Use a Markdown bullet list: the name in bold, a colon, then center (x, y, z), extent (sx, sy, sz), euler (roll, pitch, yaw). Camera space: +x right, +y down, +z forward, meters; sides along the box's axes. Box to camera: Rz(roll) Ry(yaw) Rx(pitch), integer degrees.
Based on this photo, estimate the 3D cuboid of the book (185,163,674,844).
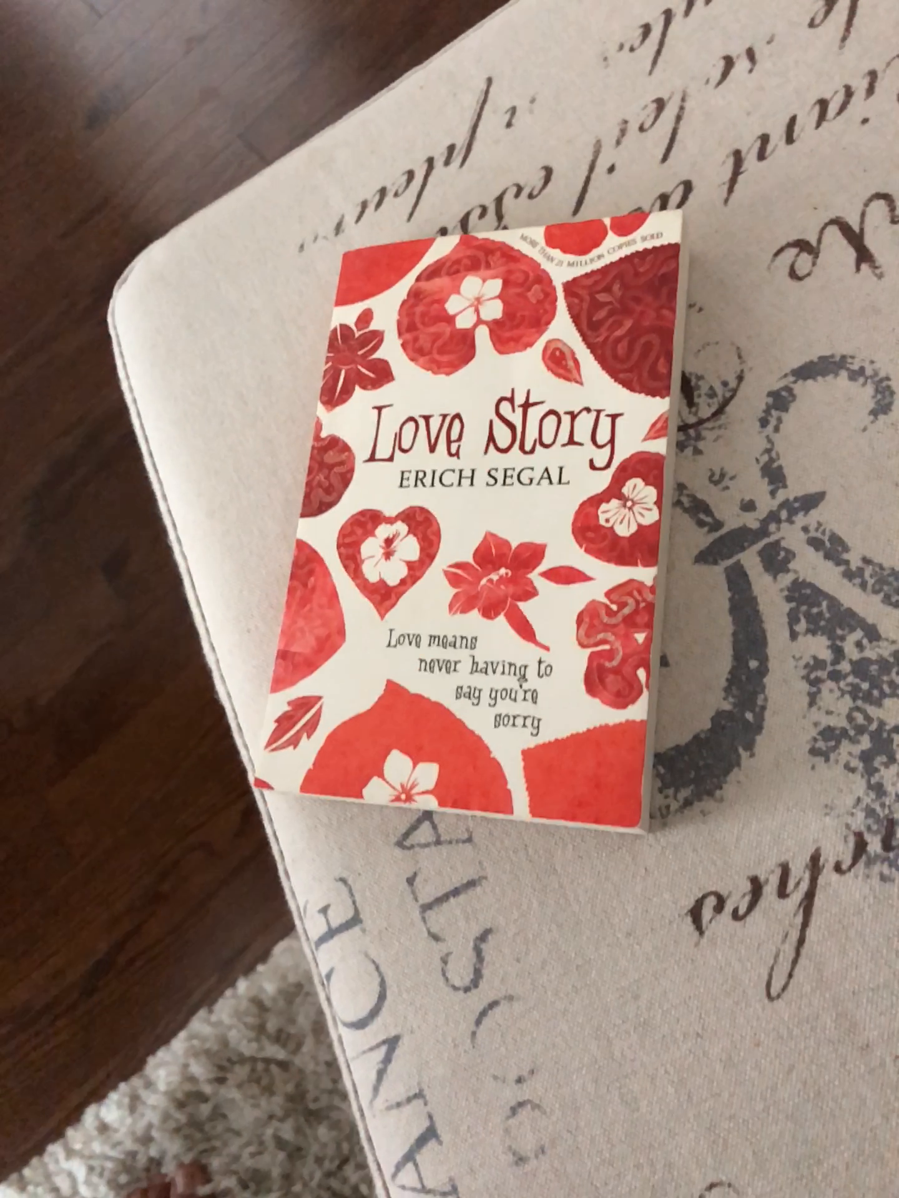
- **book**: center (-0.002, -0.032, 0.289), extent (0.120, 0.020, 0.188), euler (1, 73, 20)
